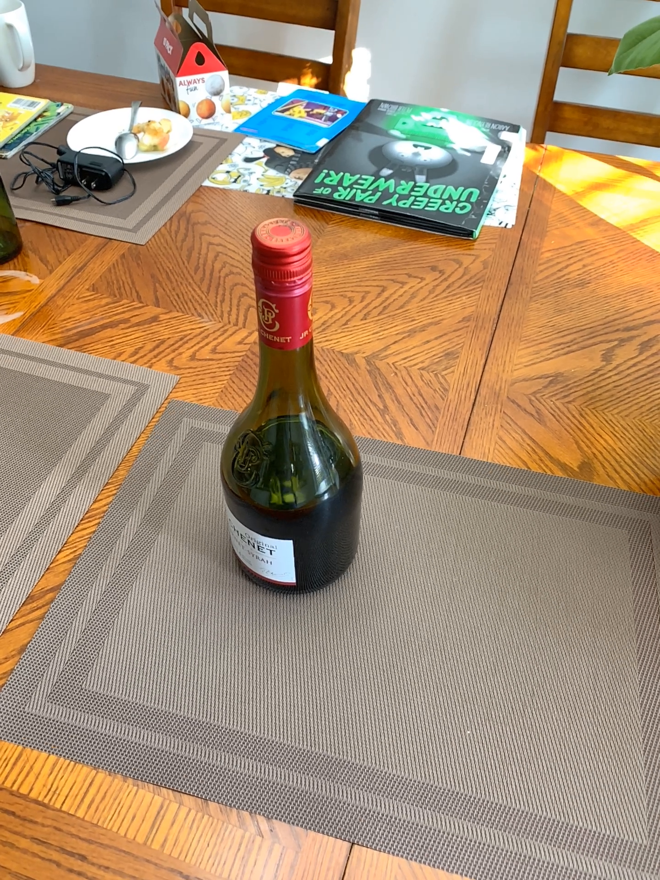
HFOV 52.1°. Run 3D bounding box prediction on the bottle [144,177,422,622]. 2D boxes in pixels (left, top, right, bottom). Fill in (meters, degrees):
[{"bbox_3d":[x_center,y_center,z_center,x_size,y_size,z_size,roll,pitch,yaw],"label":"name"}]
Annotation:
[{"bbox_3d":[-0.027,-0.009,0.426,0.100,0.258,0.101,1,48,-1],"label":"bottle"}]
